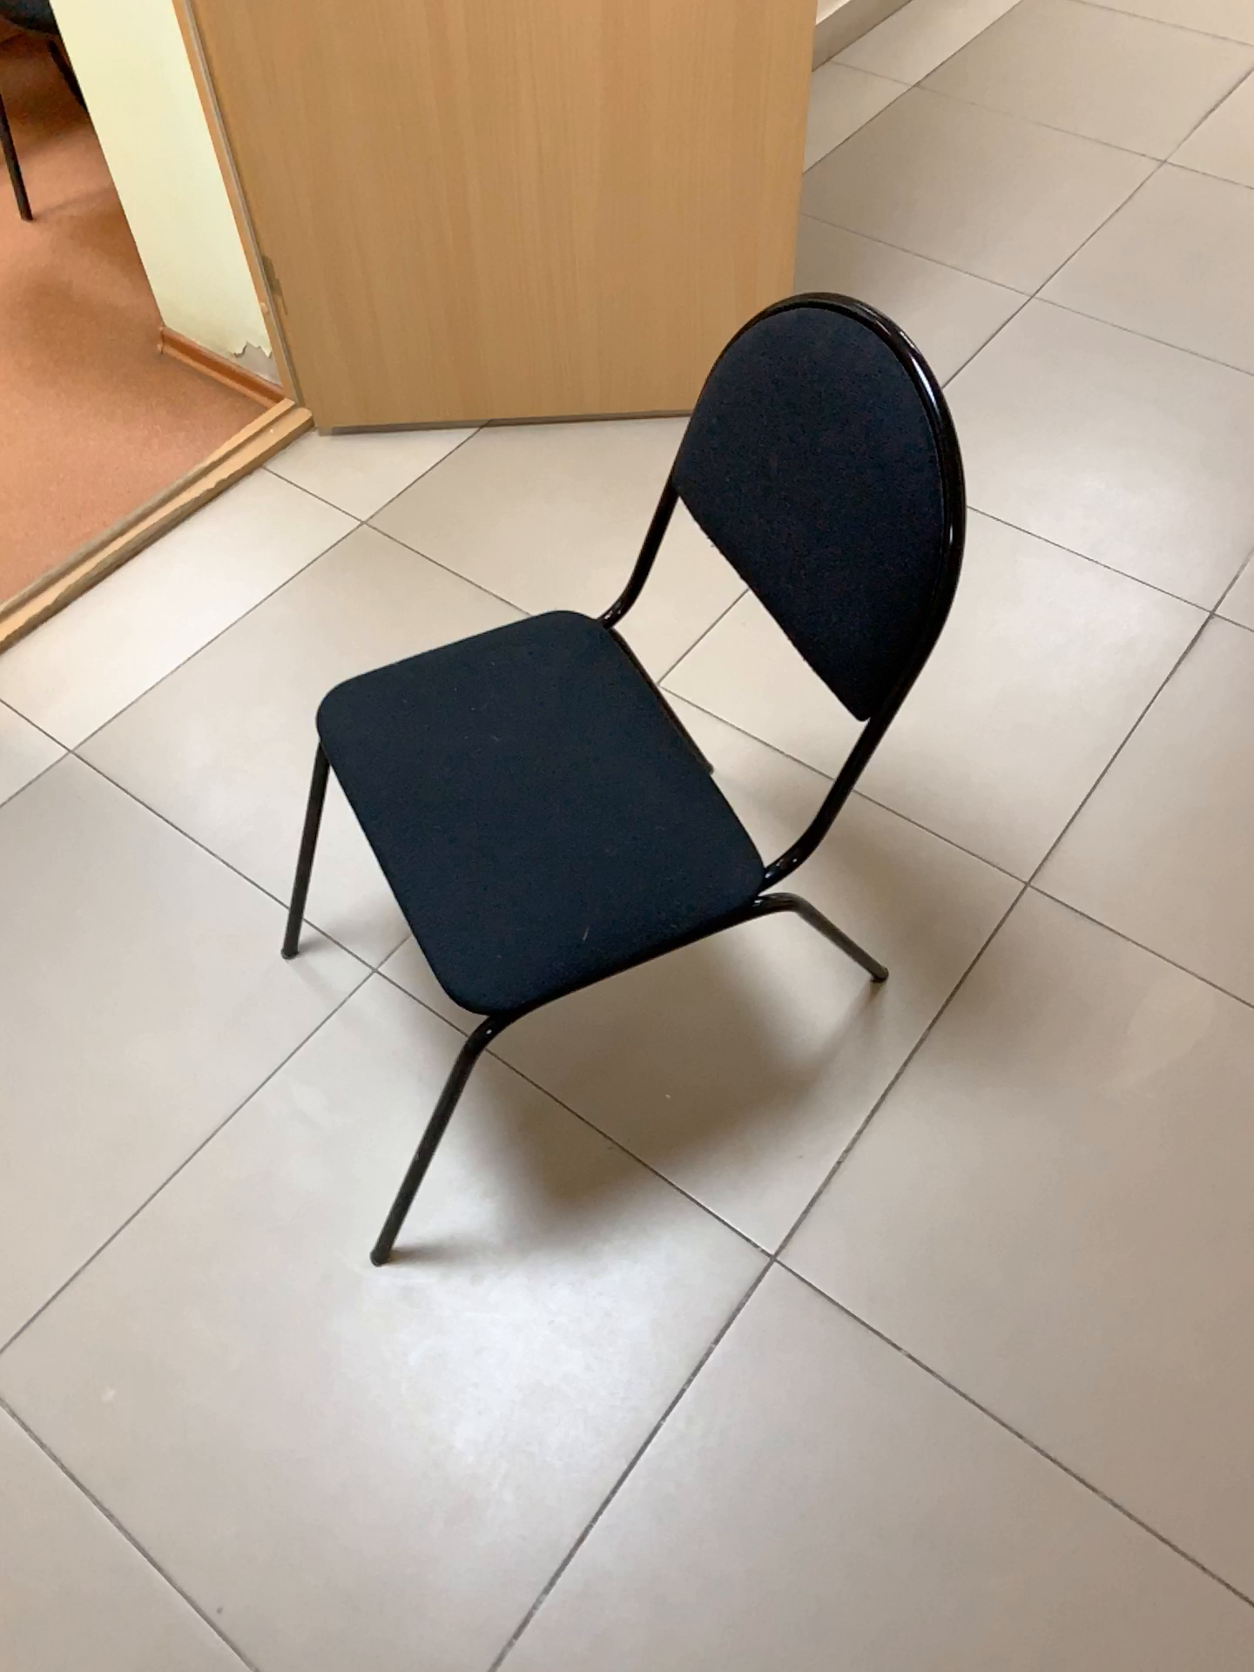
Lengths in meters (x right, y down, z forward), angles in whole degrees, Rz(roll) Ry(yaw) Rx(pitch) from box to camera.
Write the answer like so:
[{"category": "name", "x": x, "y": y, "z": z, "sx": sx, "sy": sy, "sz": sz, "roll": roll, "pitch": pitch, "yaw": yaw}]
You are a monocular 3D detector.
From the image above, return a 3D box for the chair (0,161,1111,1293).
[{"category": "chair", "x": -0.089, "y": -0.057, "z": 1.202, "sx": 0.691, "sy": 0.774, "sz": 0.483, "roll": -21, "pitch": 57, "yaw": -14}]
